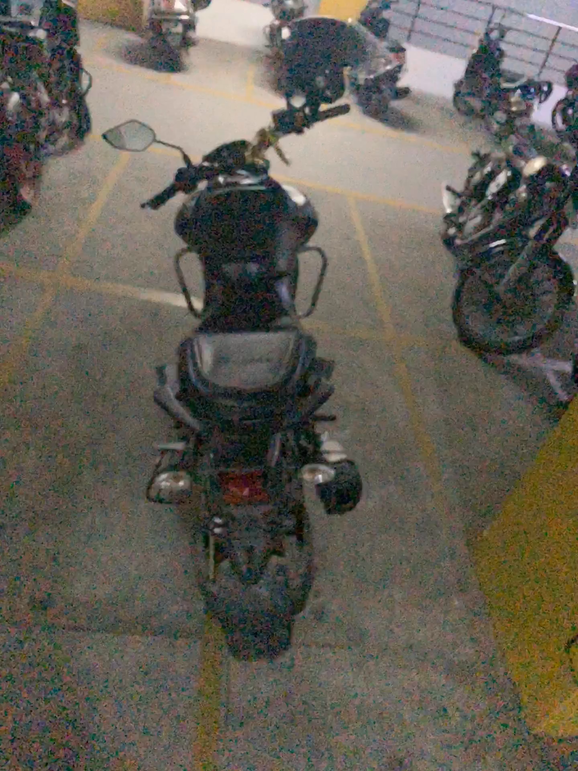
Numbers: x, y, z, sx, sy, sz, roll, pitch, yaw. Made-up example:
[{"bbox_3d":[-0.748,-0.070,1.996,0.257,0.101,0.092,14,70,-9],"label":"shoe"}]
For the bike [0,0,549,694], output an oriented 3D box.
[{"bbox_3d":[-0.272,-0.273,1.758,0.786,1.097,1.742,4,42,-17],"label":"bike"}]
